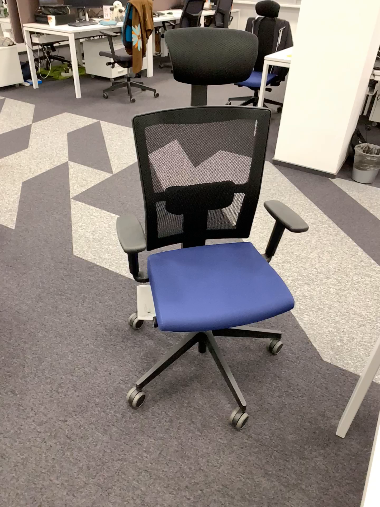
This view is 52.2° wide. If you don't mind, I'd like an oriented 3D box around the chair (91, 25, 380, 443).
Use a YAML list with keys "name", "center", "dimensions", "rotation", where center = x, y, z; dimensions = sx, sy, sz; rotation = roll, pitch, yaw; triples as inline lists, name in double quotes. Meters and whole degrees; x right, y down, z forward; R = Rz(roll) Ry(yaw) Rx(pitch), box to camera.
- name: "chair"
  center: [0.119, -0.033, 1.359]
  dimensions: [0.730, 1.243, 0.674]
  rotation: [-3, 36, -8]
